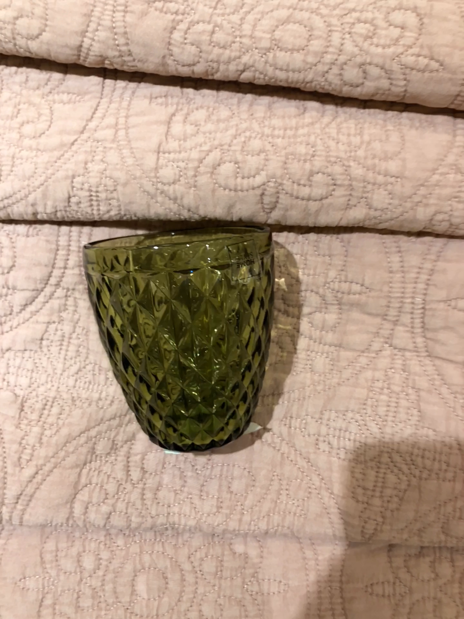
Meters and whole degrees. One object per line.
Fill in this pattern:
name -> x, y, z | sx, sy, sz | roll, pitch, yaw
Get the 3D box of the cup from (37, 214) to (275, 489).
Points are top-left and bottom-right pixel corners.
cup -> -0.025, 0.014, 0.233 | 0.080, 0.070, 0.100 | -4, 106, 4
